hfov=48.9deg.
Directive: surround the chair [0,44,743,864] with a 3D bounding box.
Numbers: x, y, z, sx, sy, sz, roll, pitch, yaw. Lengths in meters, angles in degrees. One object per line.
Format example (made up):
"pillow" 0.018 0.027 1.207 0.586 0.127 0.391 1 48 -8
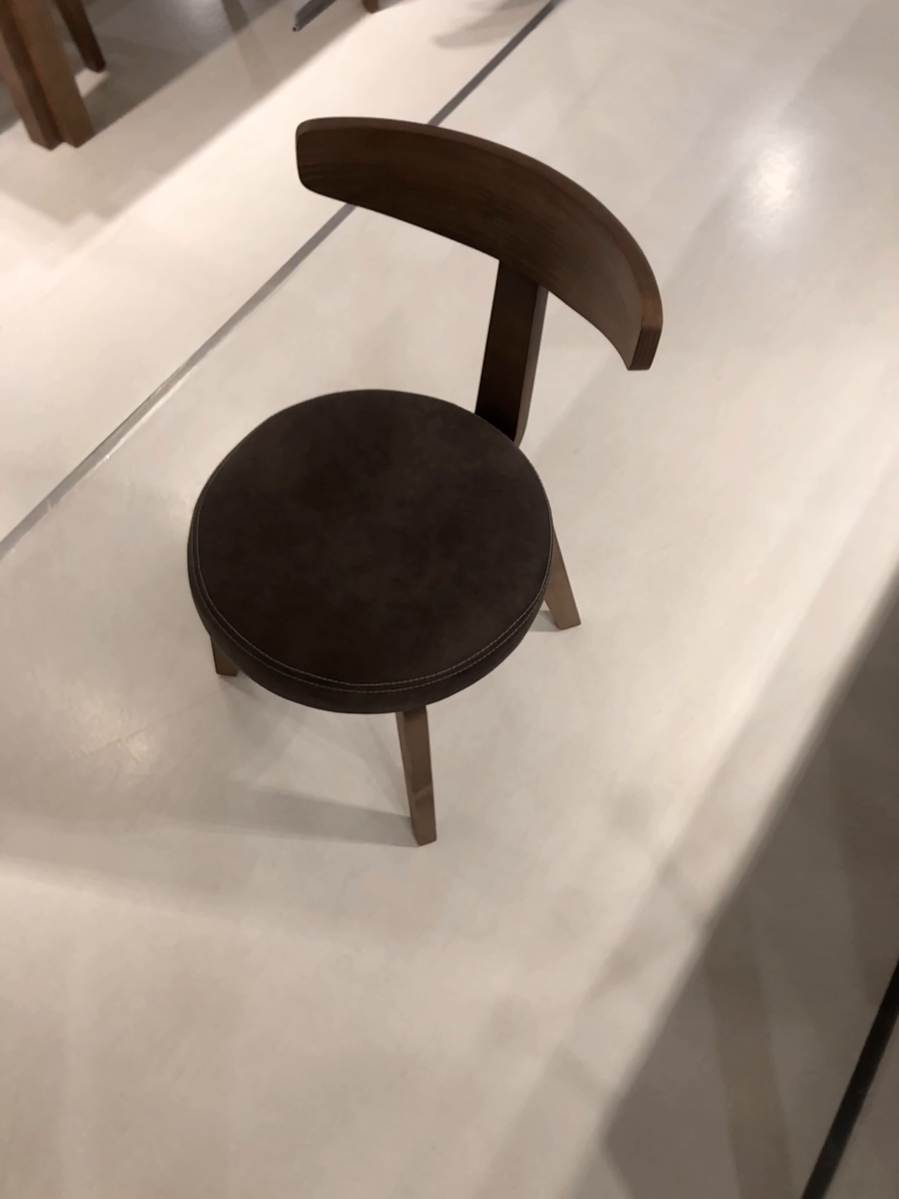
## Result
"chair" -0.069 -0.116 1.180 0.471 0.707 0.491 35 67 19
